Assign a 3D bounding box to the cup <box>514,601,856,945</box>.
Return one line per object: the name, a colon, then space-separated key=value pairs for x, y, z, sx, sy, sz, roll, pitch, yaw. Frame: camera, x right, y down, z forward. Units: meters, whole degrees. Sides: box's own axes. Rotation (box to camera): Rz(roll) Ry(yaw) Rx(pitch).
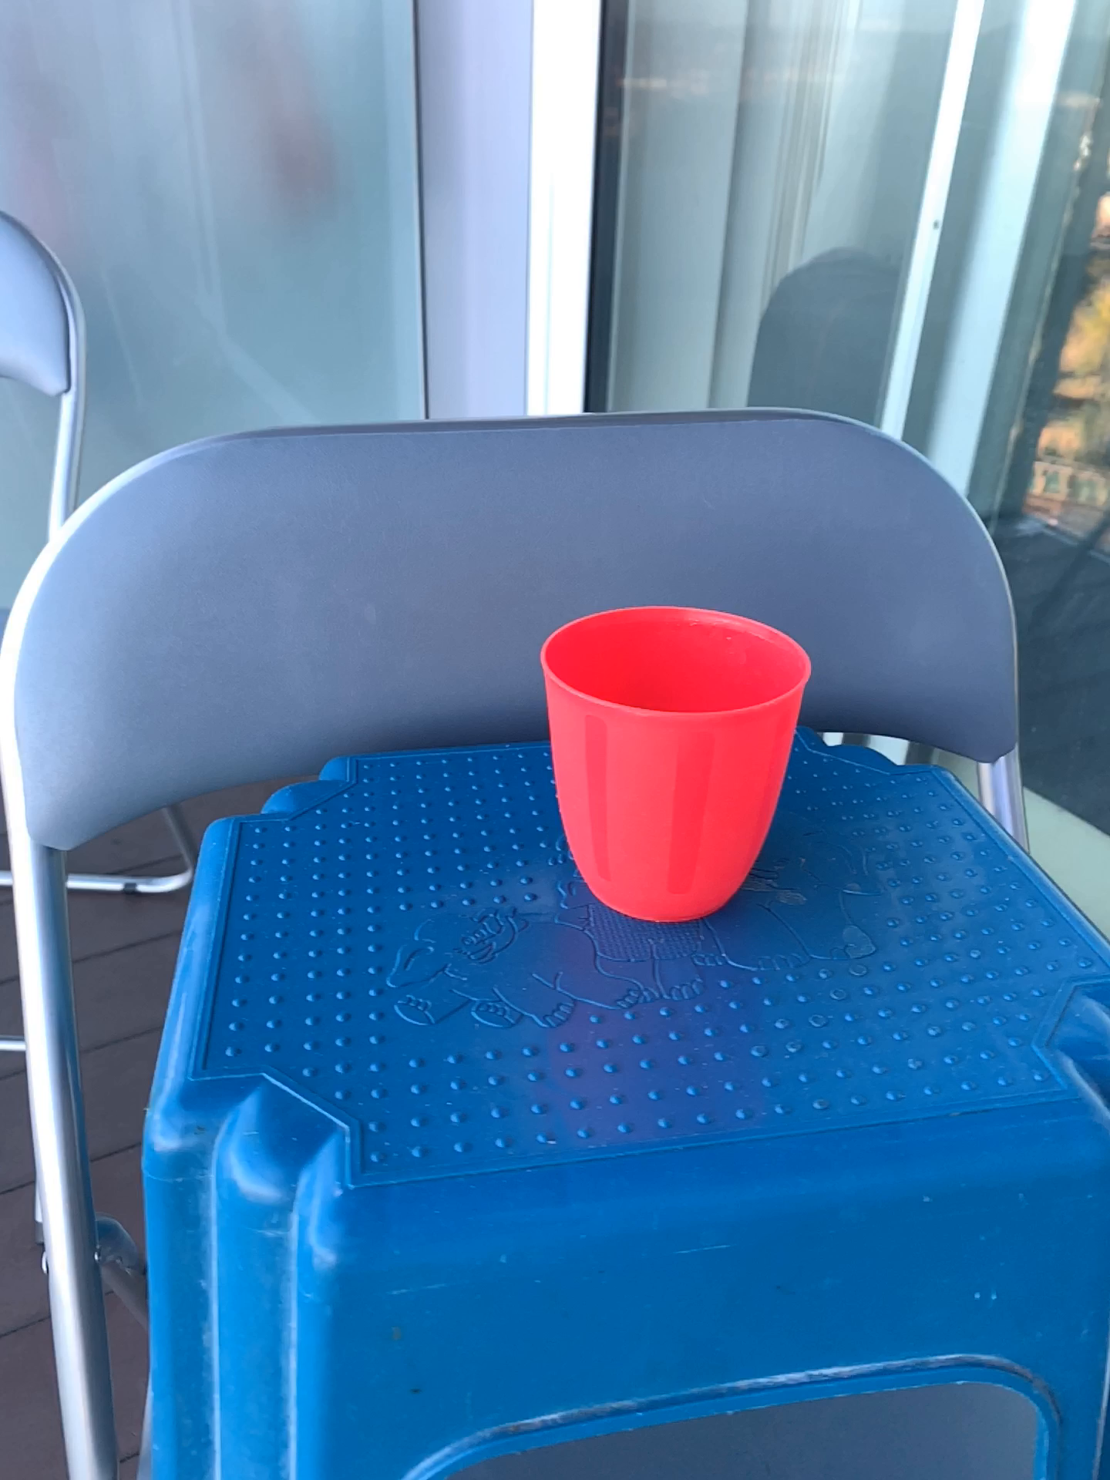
cup: x=0.035 y=0.008 z=0.367 sx=0.086 sy=0.077 sz=0.074 roll=-3 pitch=32 yaw=-9
